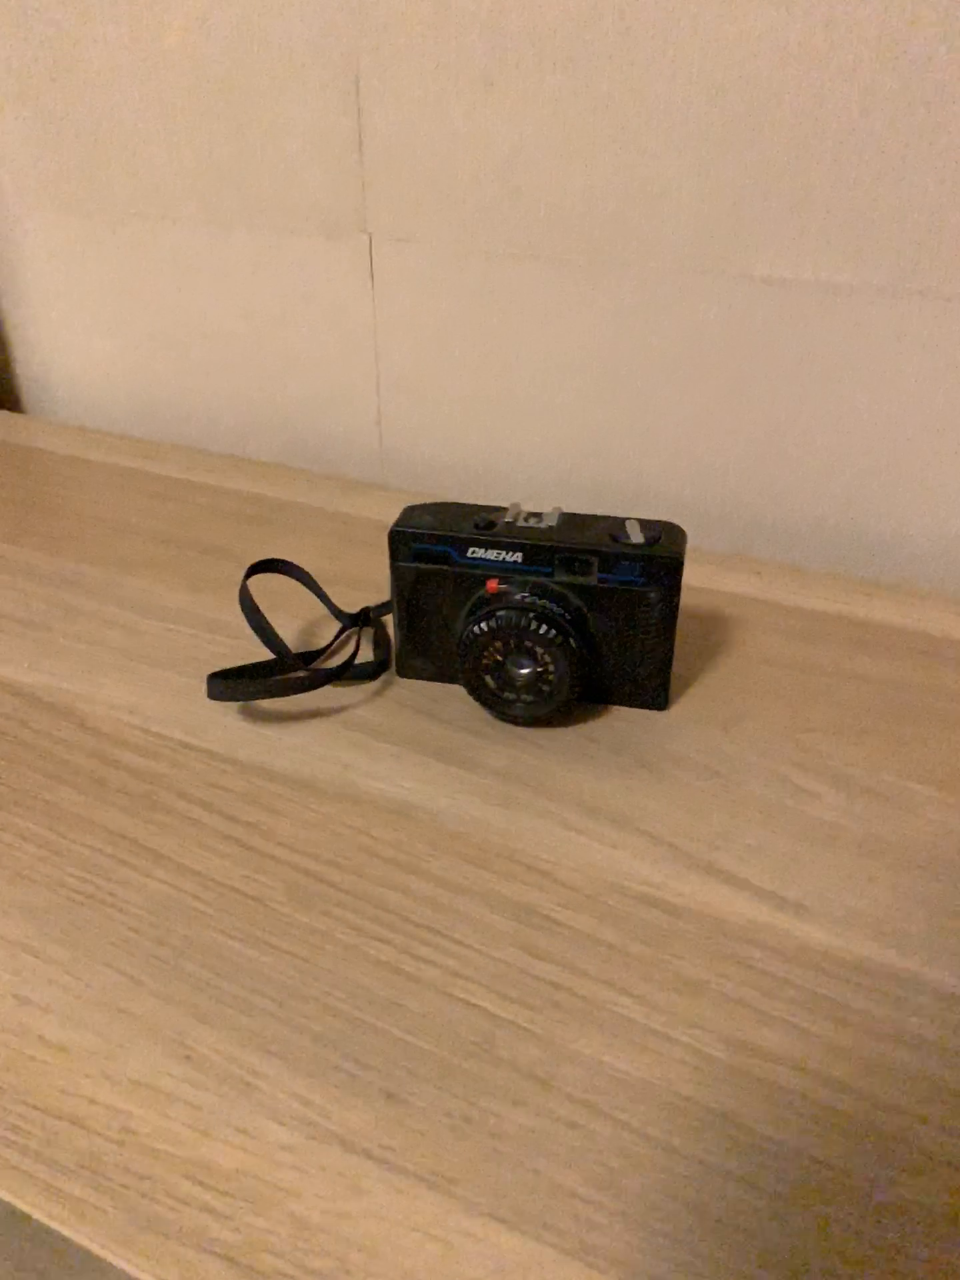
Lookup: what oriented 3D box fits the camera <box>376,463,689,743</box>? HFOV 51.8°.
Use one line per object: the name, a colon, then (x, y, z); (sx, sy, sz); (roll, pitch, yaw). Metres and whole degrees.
camera: (0.021, -0.015, 0.391); (0.110, 0.089, 0.040); (8, 36, 12)
